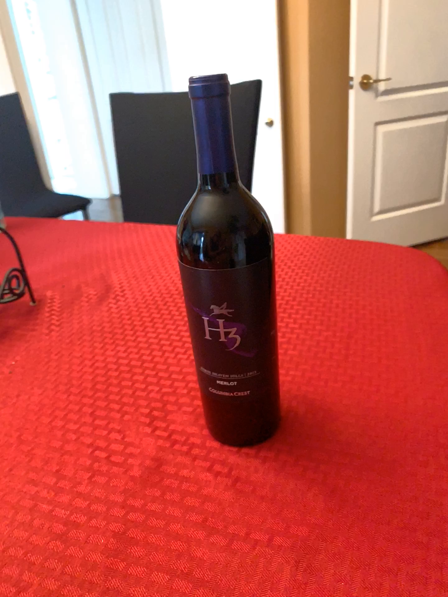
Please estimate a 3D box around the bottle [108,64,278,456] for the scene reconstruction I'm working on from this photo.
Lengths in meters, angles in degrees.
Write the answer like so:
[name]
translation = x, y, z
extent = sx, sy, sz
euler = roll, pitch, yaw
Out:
[bottle]
translation = -0.008, -0.018, 0.364
extent = 0.080, 0.288, 0.080
euler = -5, 26, 2
